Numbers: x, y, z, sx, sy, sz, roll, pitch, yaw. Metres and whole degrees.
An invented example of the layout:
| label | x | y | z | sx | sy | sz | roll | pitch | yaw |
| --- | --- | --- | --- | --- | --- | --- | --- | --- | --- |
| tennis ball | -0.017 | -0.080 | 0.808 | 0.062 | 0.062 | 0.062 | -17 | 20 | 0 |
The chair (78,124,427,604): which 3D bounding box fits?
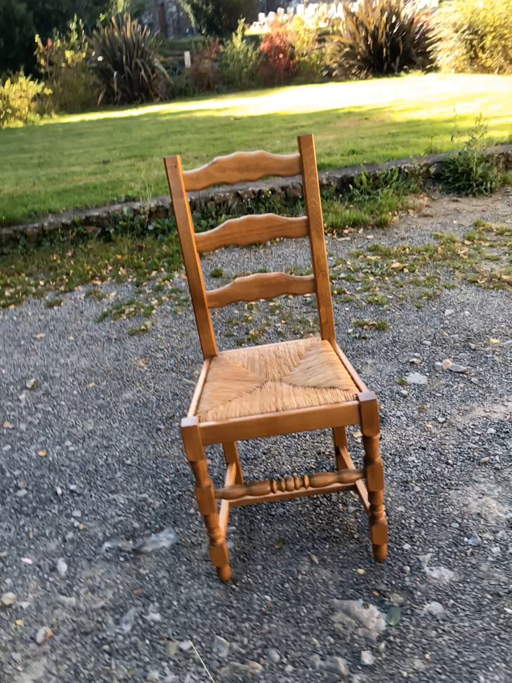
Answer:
| label | x | y | z | sx | sy | sz | roll | pitch | yaw |
| --- | --- | --- | --- | --- | --- | --- | --- | --- | --- |
| chair | 0.035 | 0.027 | 1.275 | 0.530 | 0.885 | 0.523 | -8 | 24 | 0 |
